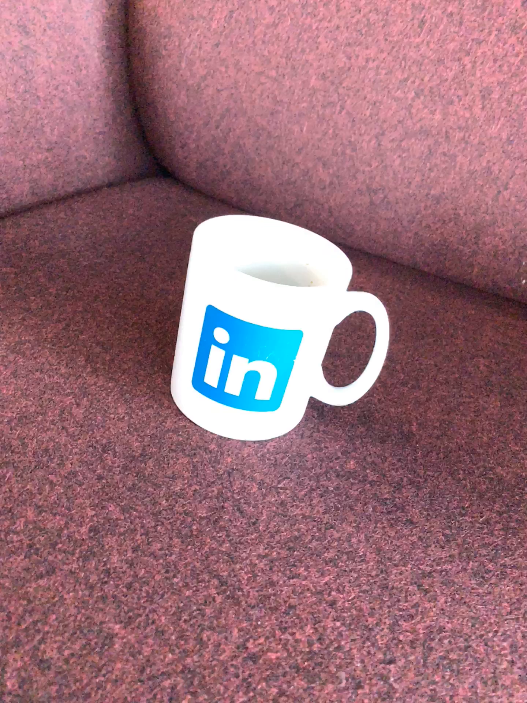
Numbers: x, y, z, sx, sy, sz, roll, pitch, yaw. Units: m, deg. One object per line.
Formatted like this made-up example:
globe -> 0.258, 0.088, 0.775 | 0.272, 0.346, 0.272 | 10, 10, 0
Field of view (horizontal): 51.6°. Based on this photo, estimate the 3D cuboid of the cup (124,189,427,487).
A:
cup -> 0.007, -0.013, 0.281 | 0.120, 0.089, 0.091 | 18, 33, 10
